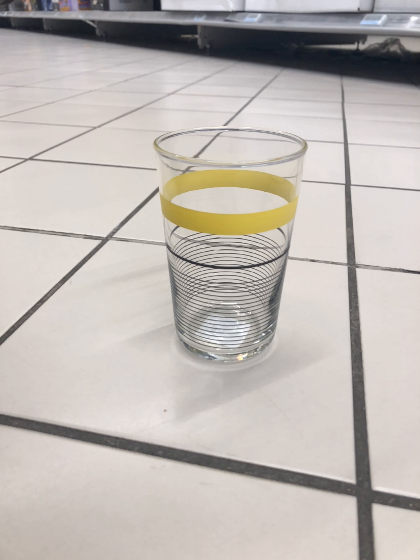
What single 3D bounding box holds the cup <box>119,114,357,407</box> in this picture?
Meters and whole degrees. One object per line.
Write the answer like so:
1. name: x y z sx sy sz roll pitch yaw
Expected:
1. cup: 0.016 -0.017 0.237 0.079 0.114 0.077 -1 28 1
